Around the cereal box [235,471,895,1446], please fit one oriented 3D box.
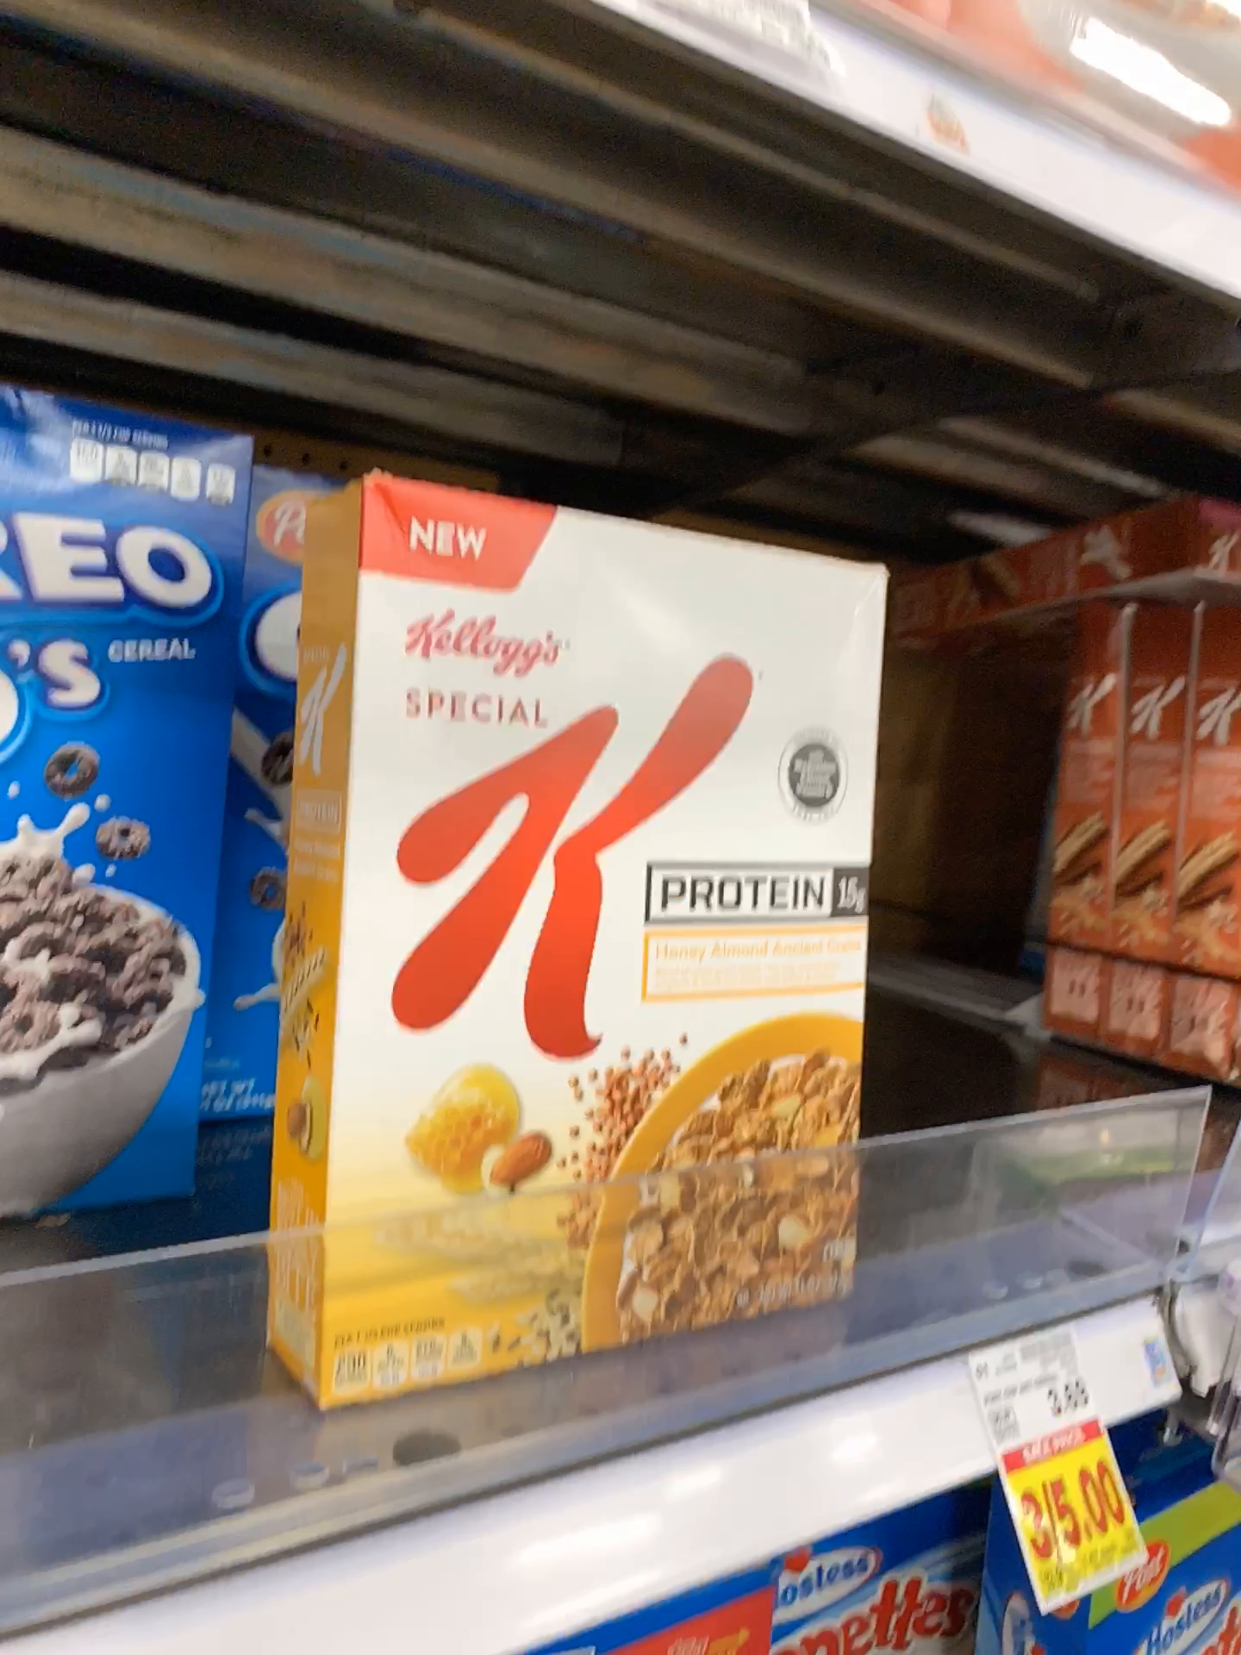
[{"bbox_3d":[-0.009,0.035,0.399,0.200,0.250,0.040,2,1,-32],"label":"cereal box"}]
